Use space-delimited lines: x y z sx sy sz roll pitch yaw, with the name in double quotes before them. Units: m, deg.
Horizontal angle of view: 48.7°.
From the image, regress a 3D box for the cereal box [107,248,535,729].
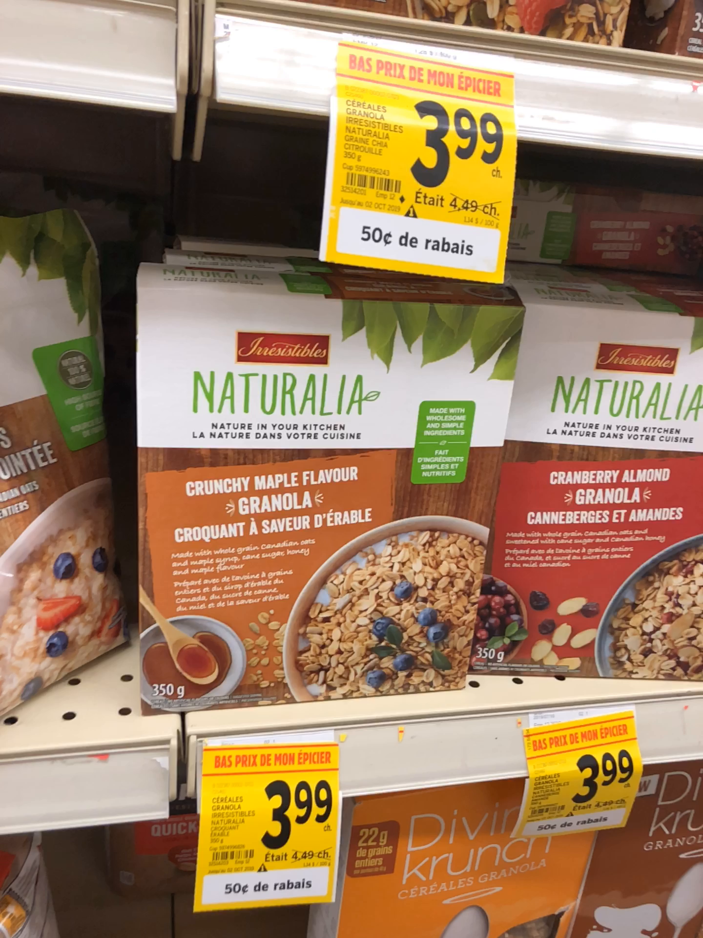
"cereal box" -0.022 0.013 0.363 0.170 0.209 0.050 0 23 -14
